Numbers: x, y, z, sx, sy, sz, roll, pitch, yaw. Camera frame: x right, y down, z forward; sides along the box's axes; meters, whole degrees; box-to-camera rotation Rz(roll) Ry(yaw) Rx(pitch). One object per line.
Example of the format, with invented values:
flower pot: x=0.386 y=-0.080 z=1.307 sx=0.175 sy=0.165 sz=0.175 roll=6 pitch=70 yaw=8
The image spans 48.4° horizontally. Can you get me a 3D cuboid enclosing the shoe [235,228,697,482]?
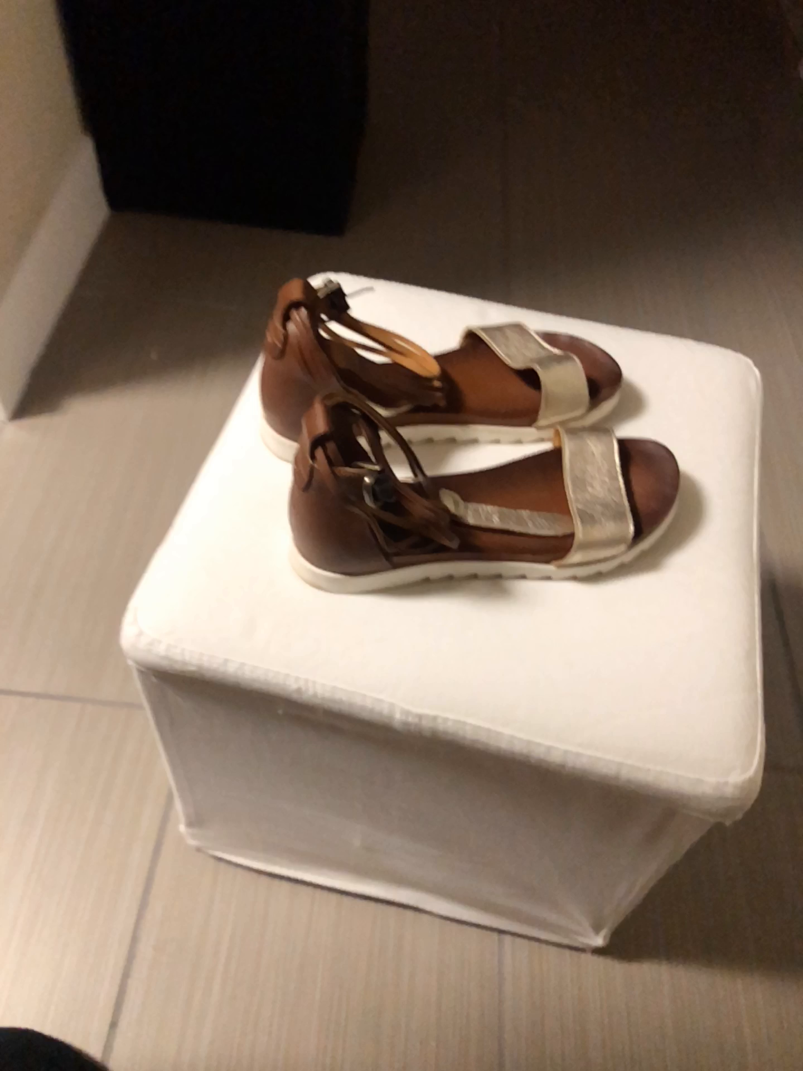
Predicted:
shoe: x=0.033 y=-0.119 z=0.571 sx=0.260 sy=0.090 sz=0.110 roll=-7 pitch=53 yaw=-10

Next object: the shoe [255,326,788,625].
shoe: x=0.057 y=-0.037 z=0.502 sx=0.260 sy=0.090 sz=0.110 roll=-7 pitch=53 yaw=-10
